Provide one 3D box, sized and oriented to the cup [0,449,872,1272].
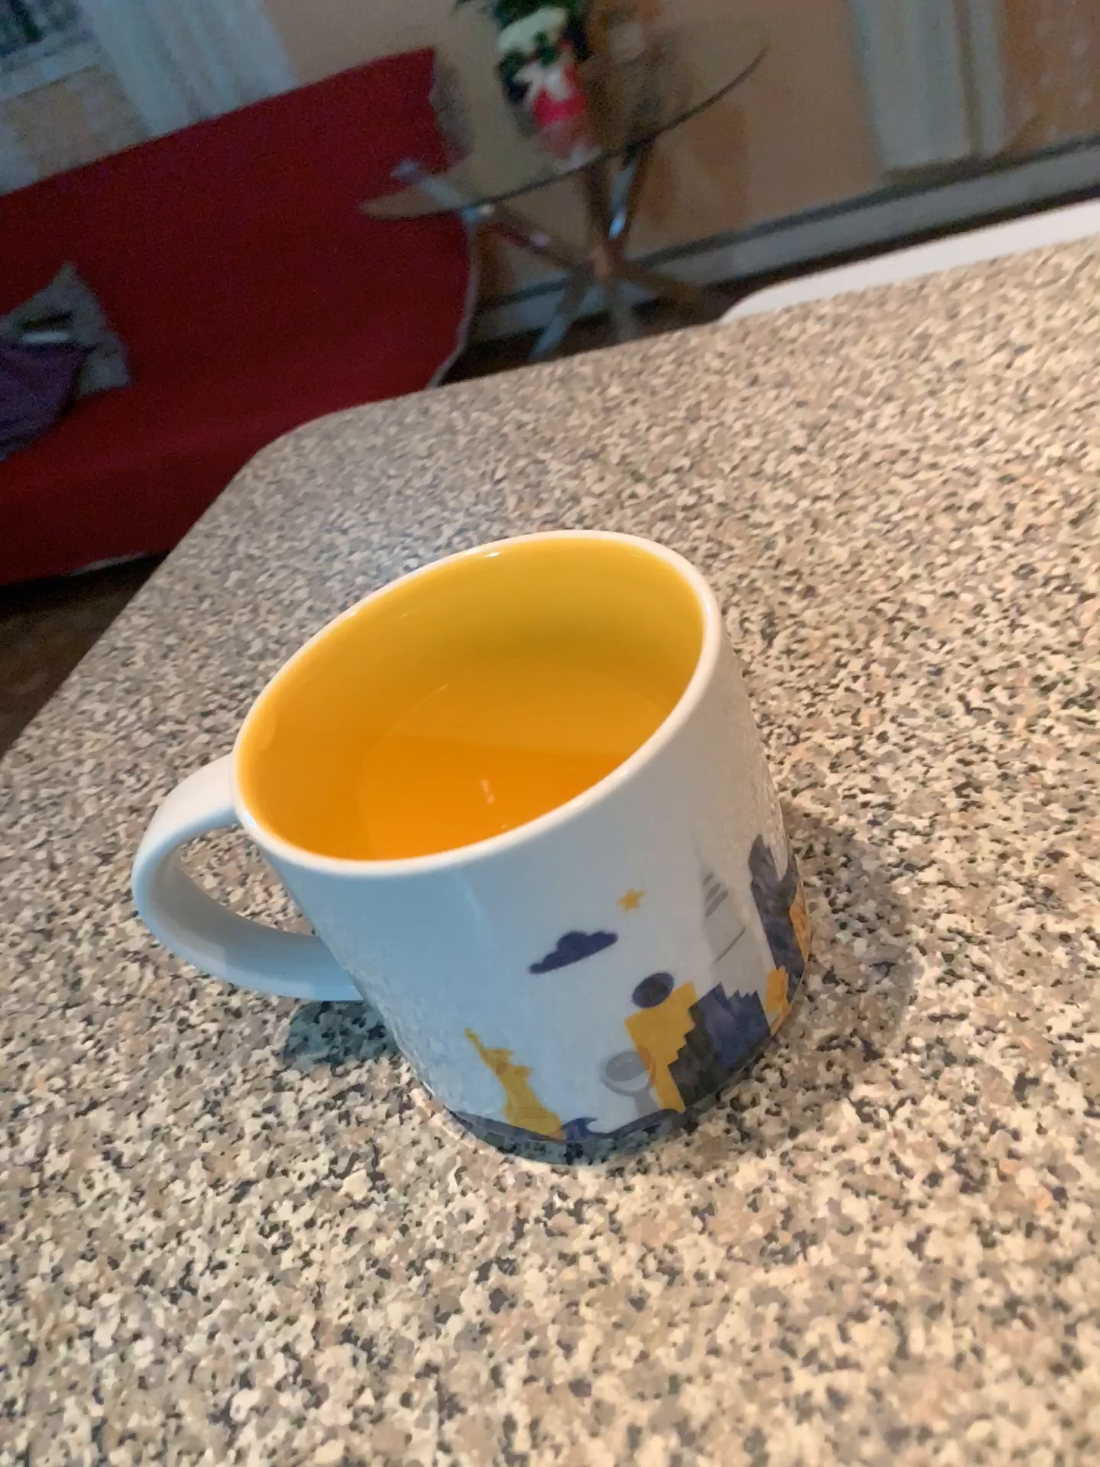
[{"bbox_3d":[-0.025,0.025,0.236,0.139,0.087,0.103,-19,38,8],"label":"cup"}]
